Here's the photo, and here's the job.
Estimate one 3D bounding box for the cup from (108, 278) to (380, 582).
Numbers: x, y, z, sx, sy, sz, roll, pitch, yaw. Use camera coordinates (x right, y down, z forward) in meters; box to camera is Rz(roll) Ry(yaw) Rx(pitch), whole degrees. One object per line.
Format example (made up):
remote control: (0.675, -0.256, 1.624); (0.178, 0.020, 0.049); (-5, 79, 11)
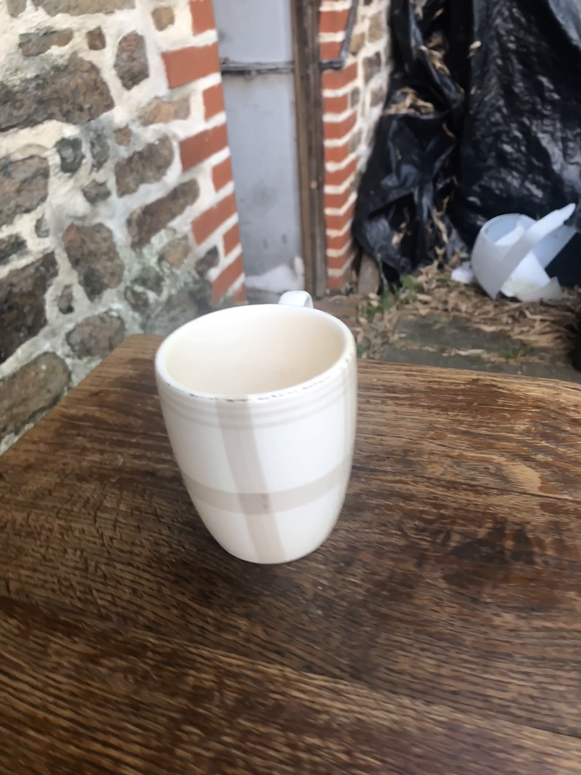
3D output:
cup: (-0.009, 0.010, 0.301); (0.087, 0.078, 0.125); (3, 33, 13)
